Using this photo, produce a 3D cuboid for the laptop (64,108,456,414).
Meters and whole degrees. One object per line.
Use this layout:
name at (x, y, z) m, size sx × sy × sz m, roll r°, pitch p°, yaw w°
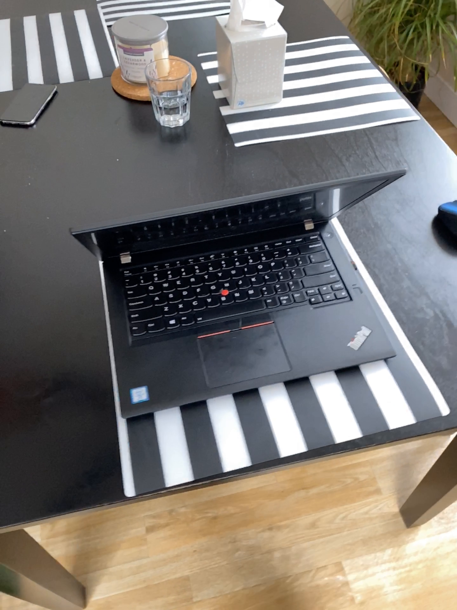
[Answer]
laptop at (0.013, -0.054, 0.510) m, size 0.320 × 0.175 × 0.221 m, roll -11°, pitch 53°, yaw -8°
